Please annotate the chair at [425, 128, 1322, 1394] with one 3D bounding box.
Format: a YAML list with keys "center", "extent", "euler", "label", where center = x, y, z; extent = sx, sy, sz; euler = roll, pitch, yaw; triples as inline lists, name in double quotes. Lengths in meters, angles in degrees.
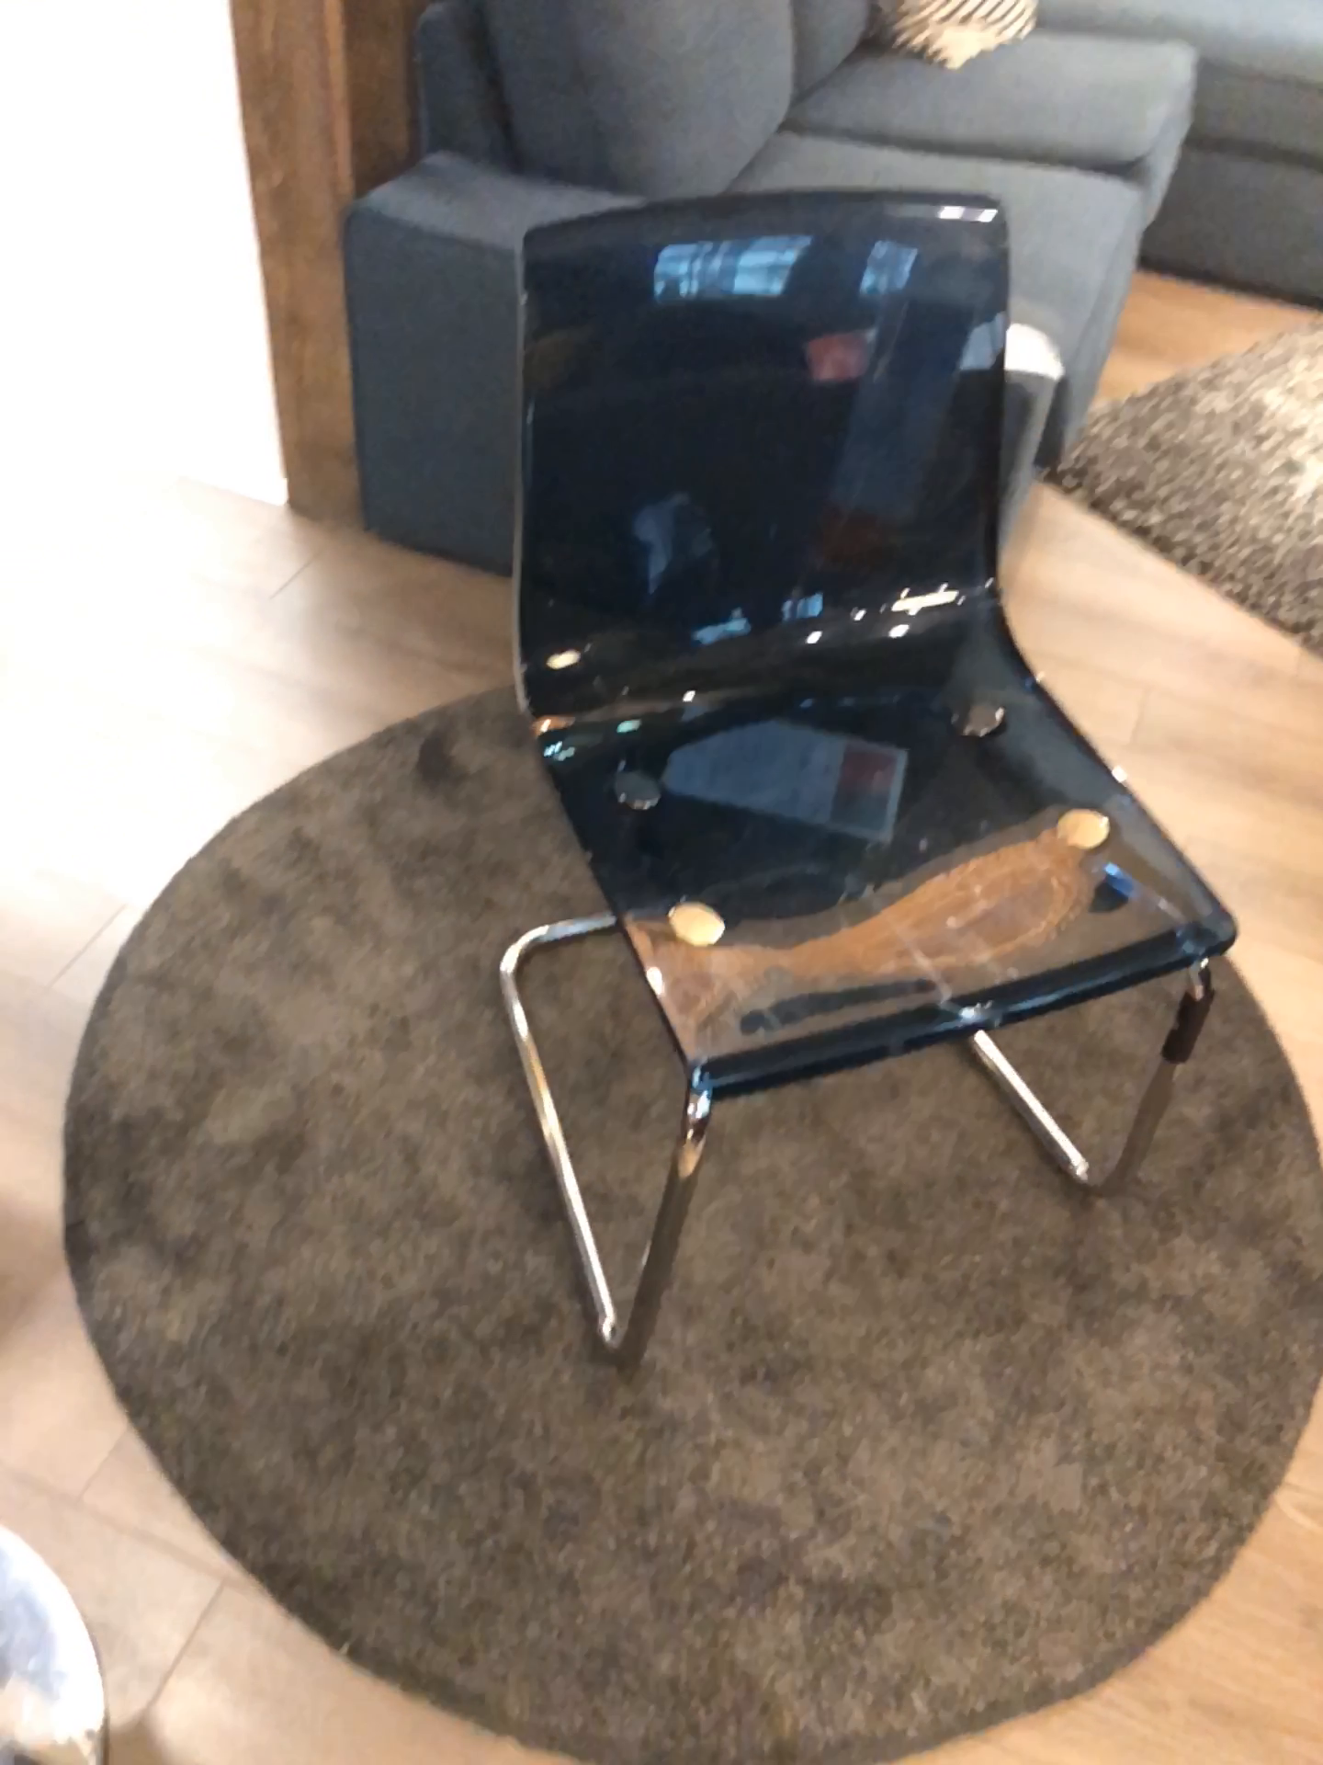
- center: [0.164, -0.075, 1.251]
  extent: [0.581, 0.867, 0.501]
  euler: [-14, 50, -19]
  label: "chair"
